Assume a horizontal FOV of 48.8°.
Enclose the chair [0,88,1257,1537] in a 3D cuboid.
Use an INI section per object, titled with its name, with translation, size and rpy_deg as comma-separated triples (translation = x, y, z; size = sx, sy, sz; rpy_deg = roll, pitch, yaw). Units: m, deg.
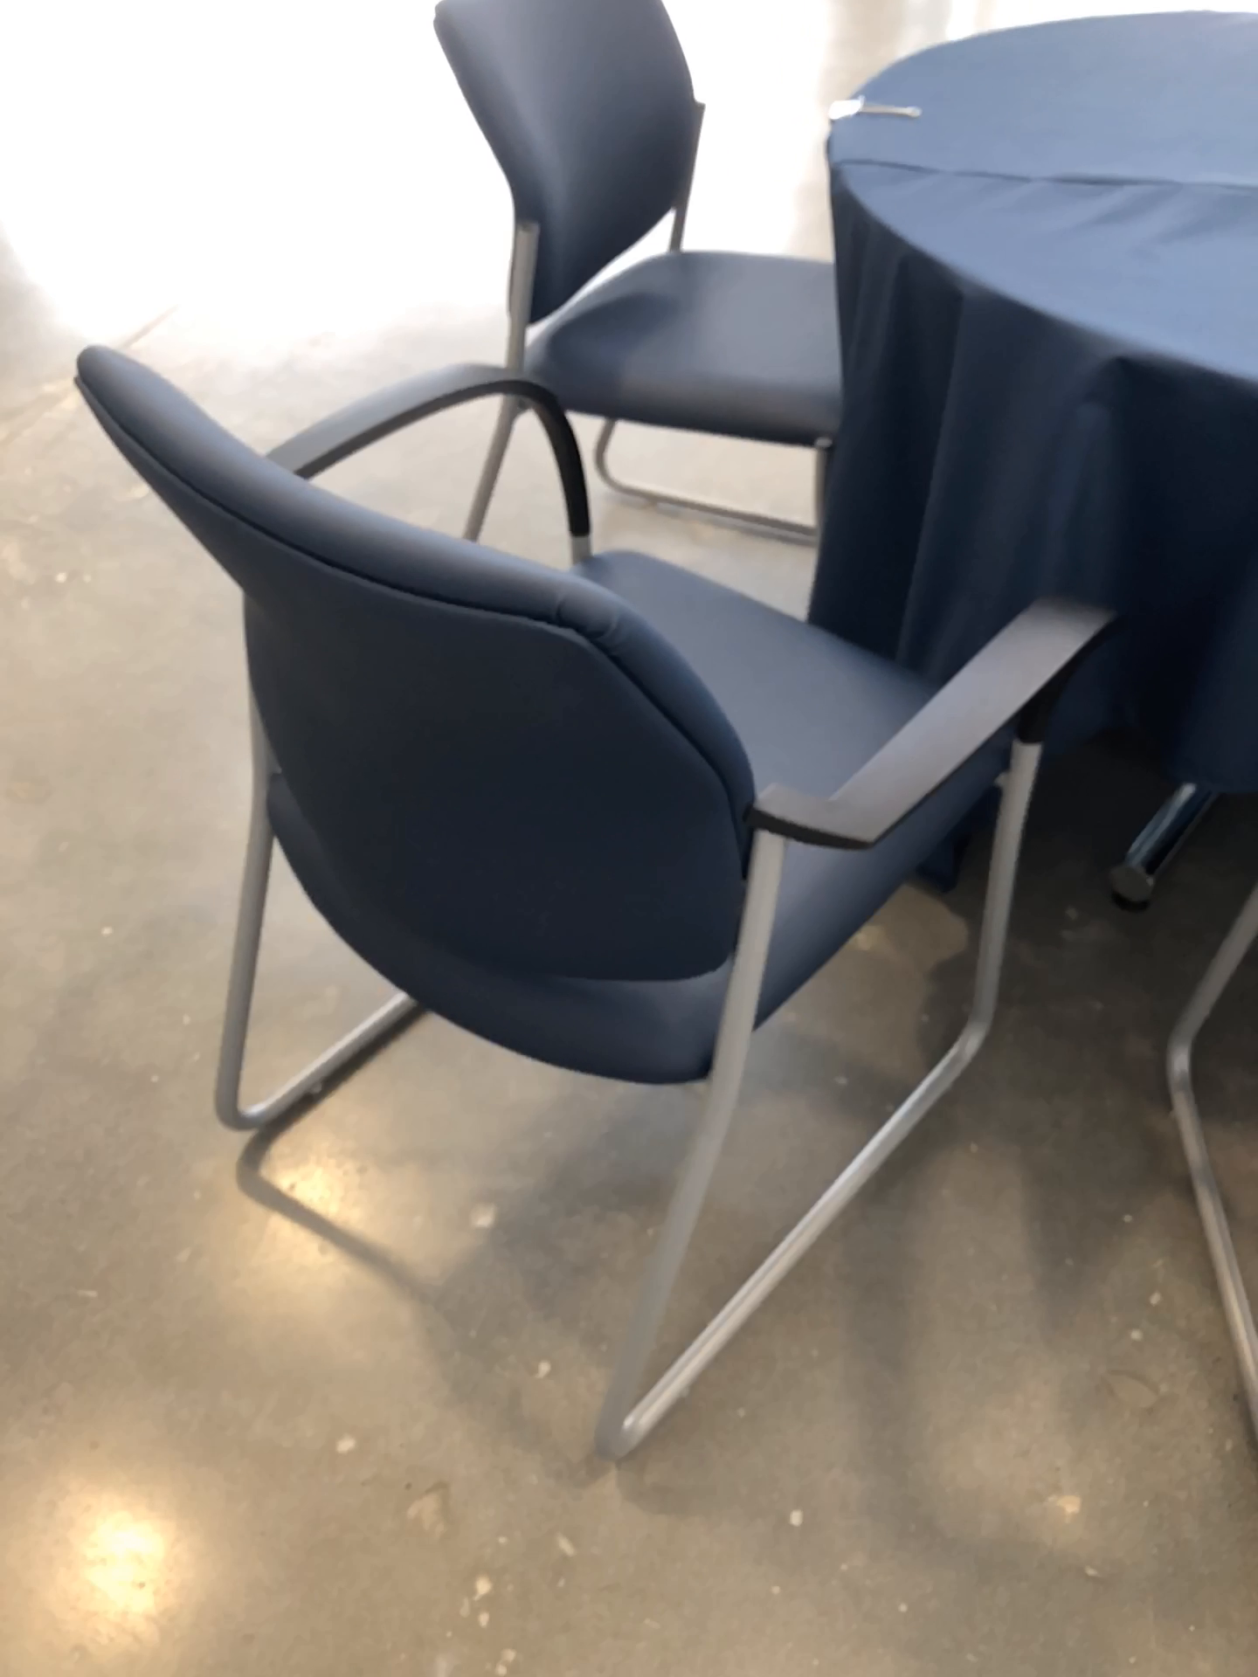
[chair]
translation = -0.022, -0.064, 1.141
size = 0.642, 0.765, 0.672
rpy_deg = 30, 51, 29
